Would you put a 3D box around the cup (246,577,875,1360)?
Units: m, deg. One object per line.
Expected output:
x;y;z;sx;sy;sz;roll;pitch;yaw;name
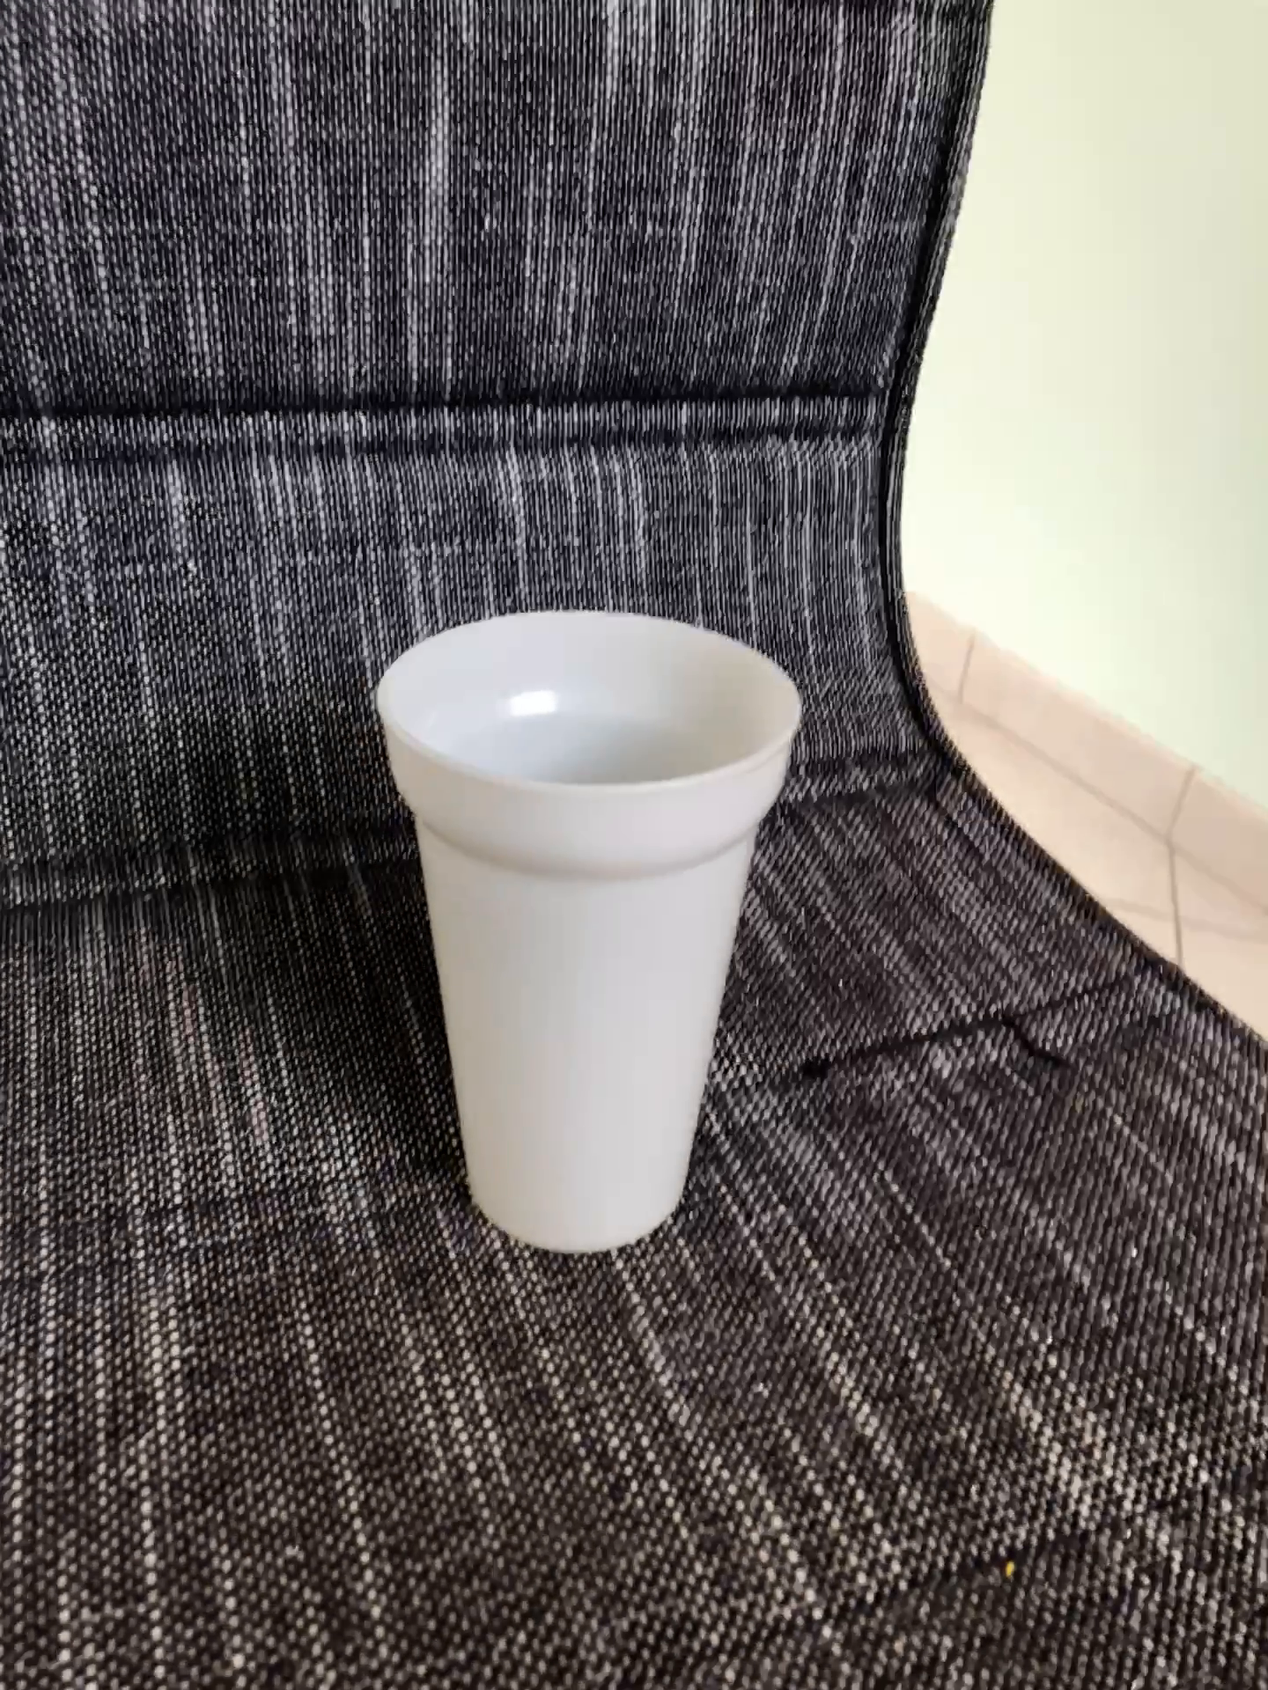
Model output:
-0.016;0.020;0.281;0.080;0.109;0.081;4;33;-3;cup
